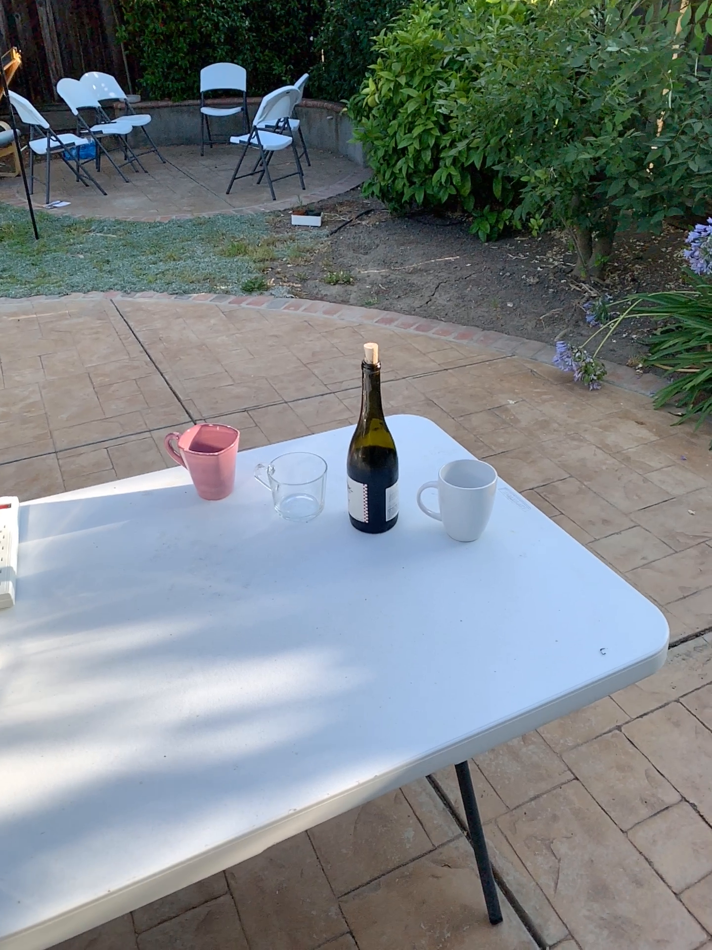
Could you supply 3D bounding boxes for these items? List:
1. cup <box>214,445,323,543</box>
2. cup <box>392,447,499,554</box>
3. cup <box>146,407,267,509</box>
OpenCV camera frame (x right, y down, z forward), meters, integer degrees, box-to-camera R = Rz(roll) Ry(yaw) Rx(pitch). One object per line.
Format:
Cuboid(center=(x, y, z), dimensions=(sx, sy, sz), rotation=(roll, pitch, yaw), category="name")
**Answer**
Cuboid(center=(-0.144, 0.029, 1.224), dimensions=(0.140, 0.089, 0.110), rotation=(13, 36, 20), category="cup")
Cuboid(center=(0.136, 0.036, 1.100), dimensions=(0.140, 0.099, 0.111), rotation=(7, 34, 12), category="cup")
Cuboid(center=(-0.234, -0.030, 1.154), dimensions=(0.140, 0.089, 0.110), rotation=(15, 36, 23), category="cup")
